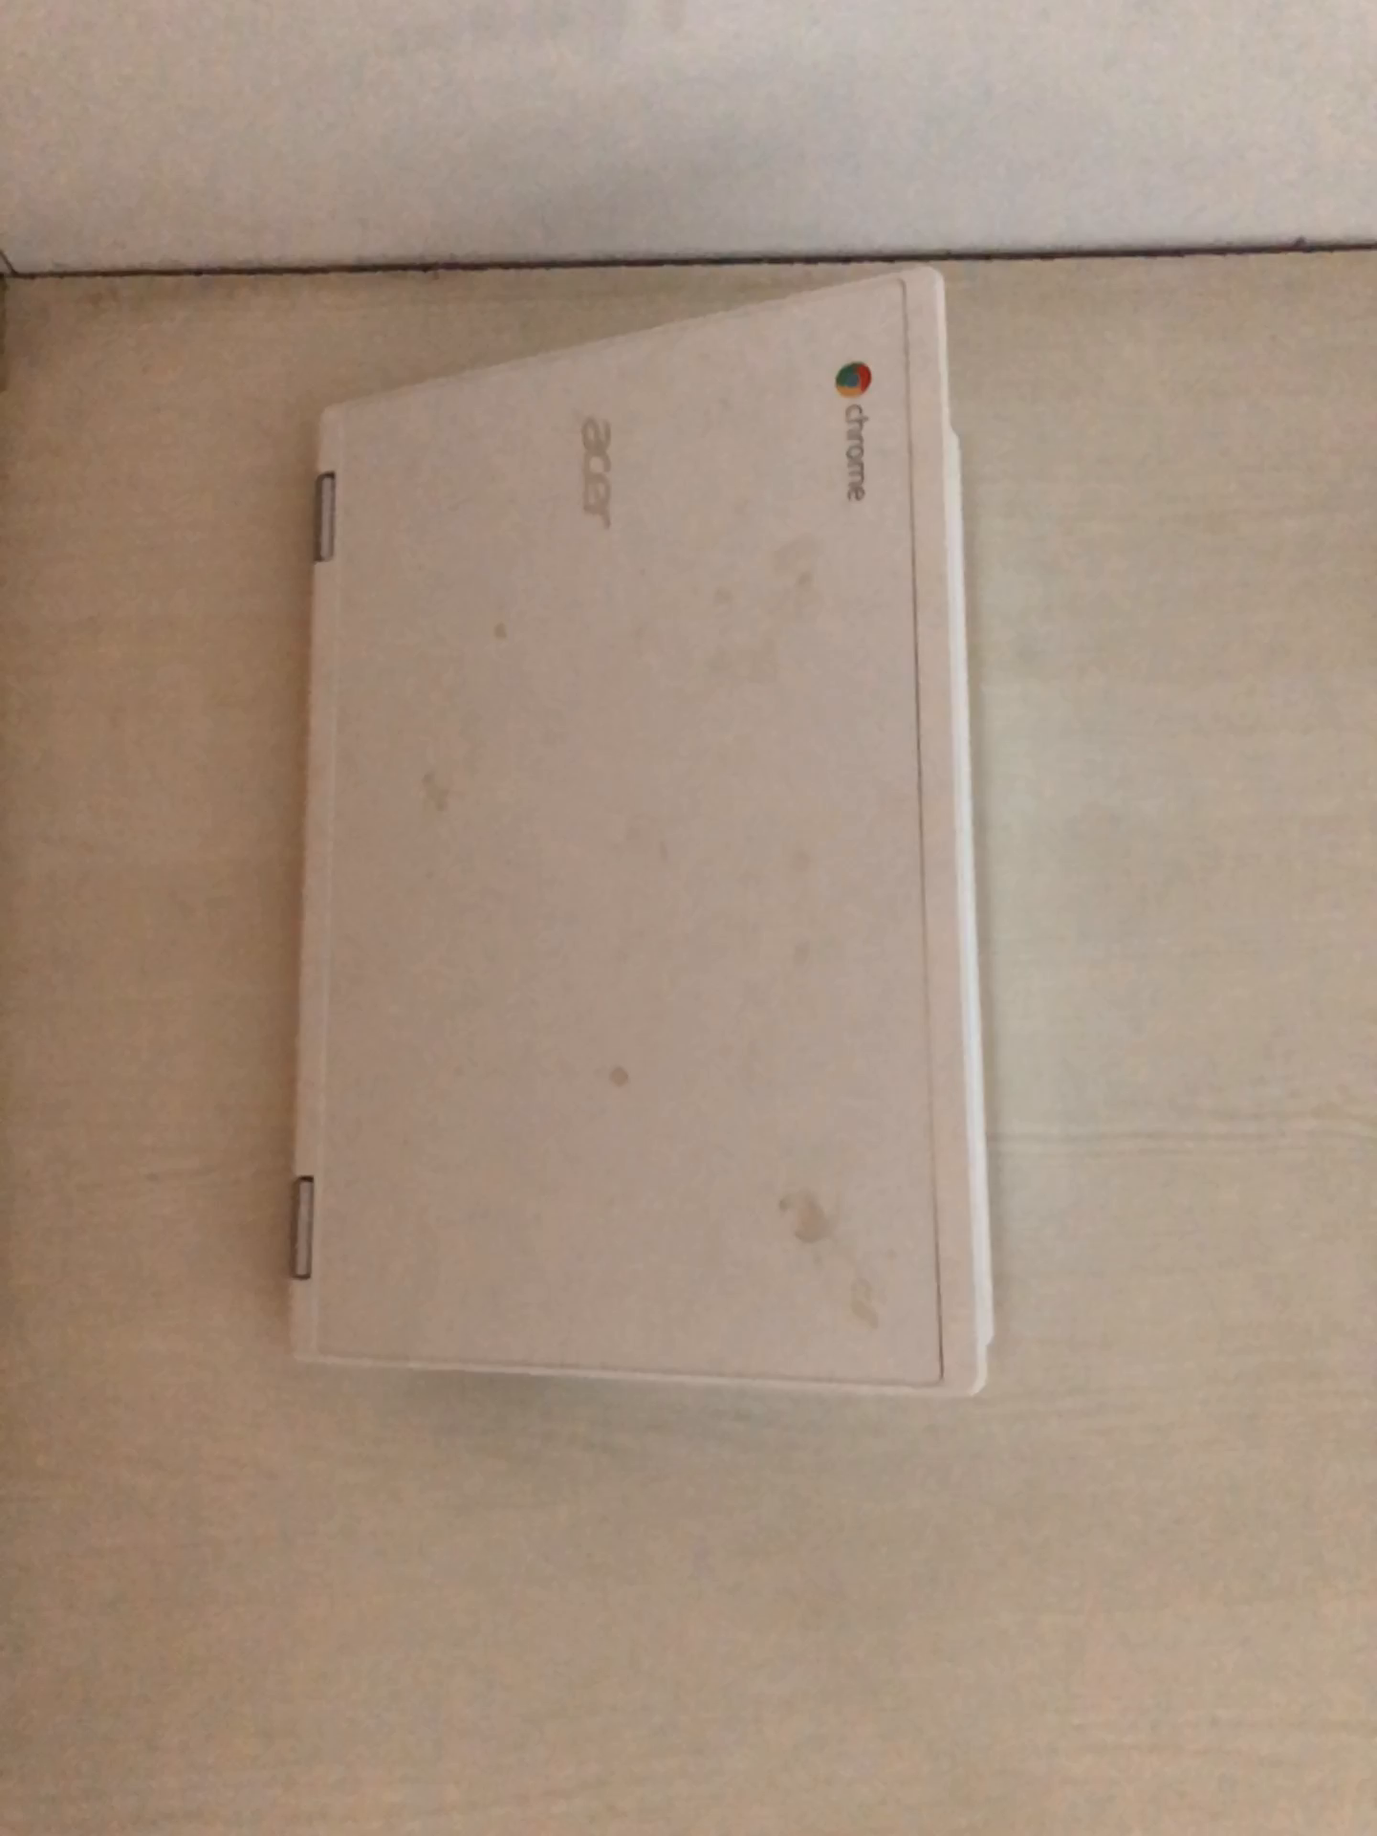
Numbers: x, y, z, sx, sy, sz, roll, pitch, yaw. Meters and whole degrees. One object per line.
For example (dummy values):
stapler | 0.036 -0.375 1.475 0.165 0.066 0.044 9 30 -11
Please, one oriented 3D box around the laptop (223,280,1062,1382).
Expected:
laptop | -0.013 -0.022 0.431 0.200 0.093 0.283 0 81 0
